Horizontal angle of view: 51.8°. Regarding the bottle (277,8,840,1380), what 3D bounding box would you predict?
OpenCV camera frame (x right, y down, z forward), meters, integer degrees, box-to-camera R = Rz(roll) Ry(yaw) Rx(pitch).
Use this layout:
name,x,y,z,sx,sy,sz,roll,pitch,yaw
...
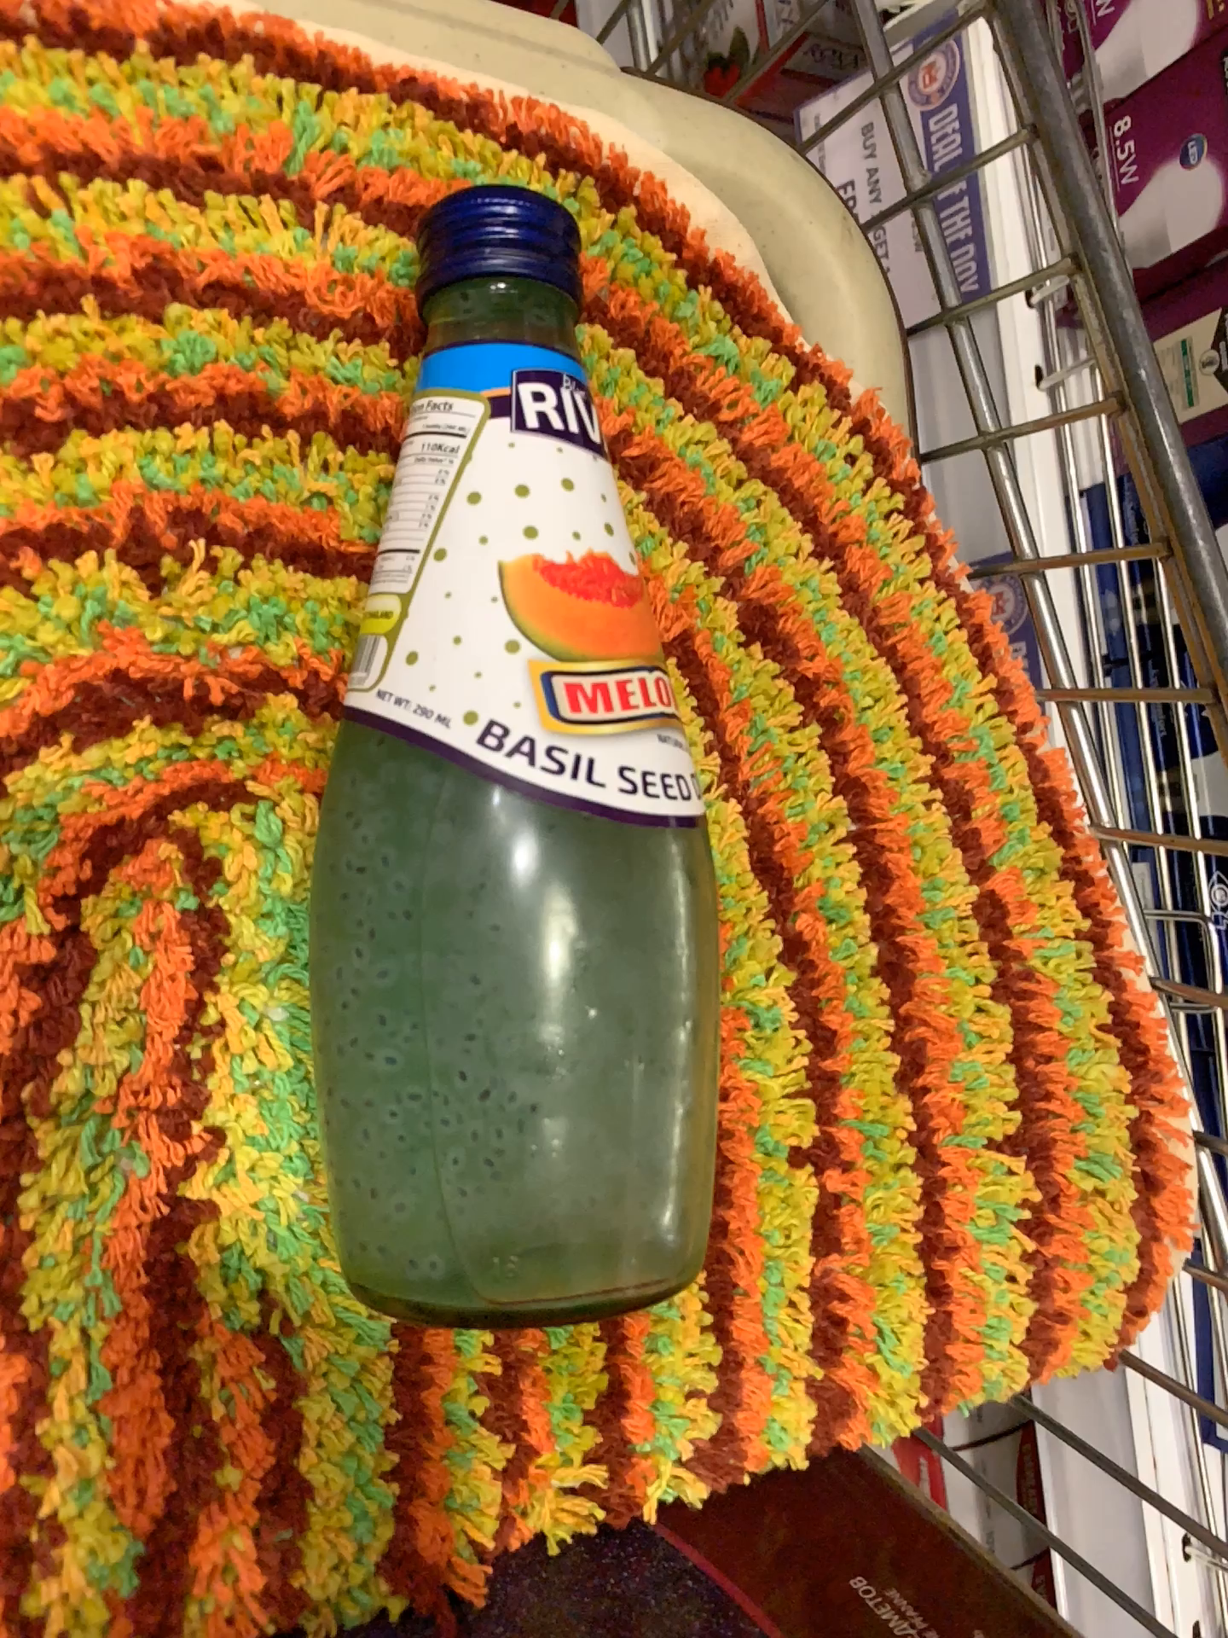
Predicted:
name,x,y,z,sx,sy,sz,roll,pitch,yaw
bottle,-0.011,-0.017,0.204,0.060,0.060,0.180,6,79,-46
